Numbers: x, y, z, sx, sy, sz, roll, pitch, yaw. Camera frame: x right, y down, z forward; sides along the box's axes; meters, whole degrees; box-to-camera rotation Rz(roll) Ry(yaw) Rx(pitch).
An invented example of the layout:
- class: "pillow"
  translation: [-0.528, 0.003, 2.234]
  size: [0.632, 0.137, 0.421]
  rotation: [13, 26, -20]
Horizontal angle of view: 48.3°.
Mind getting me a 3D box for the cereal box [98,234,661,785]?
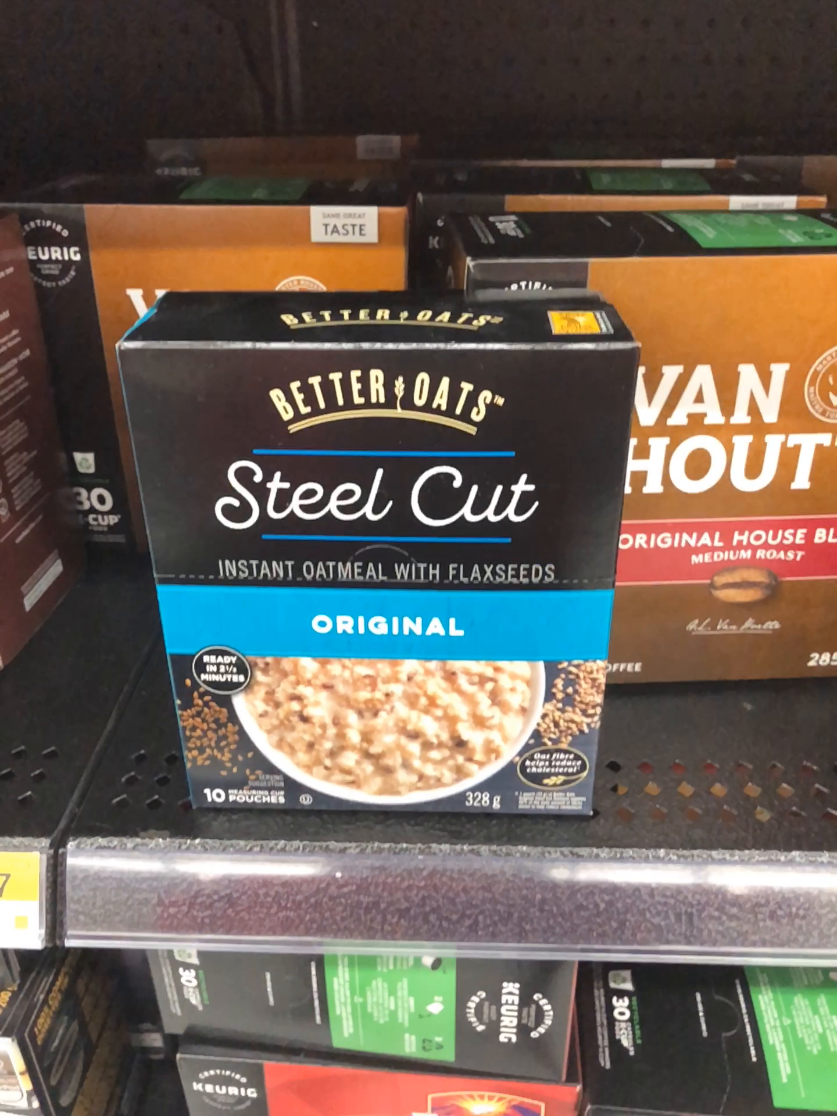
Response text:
- class: "cereal box"
  translation: [-0.011, -0.011, 0.321]
  size: [0.150, 0.179, 0.060]
  rotation: [1, 31, 1]
